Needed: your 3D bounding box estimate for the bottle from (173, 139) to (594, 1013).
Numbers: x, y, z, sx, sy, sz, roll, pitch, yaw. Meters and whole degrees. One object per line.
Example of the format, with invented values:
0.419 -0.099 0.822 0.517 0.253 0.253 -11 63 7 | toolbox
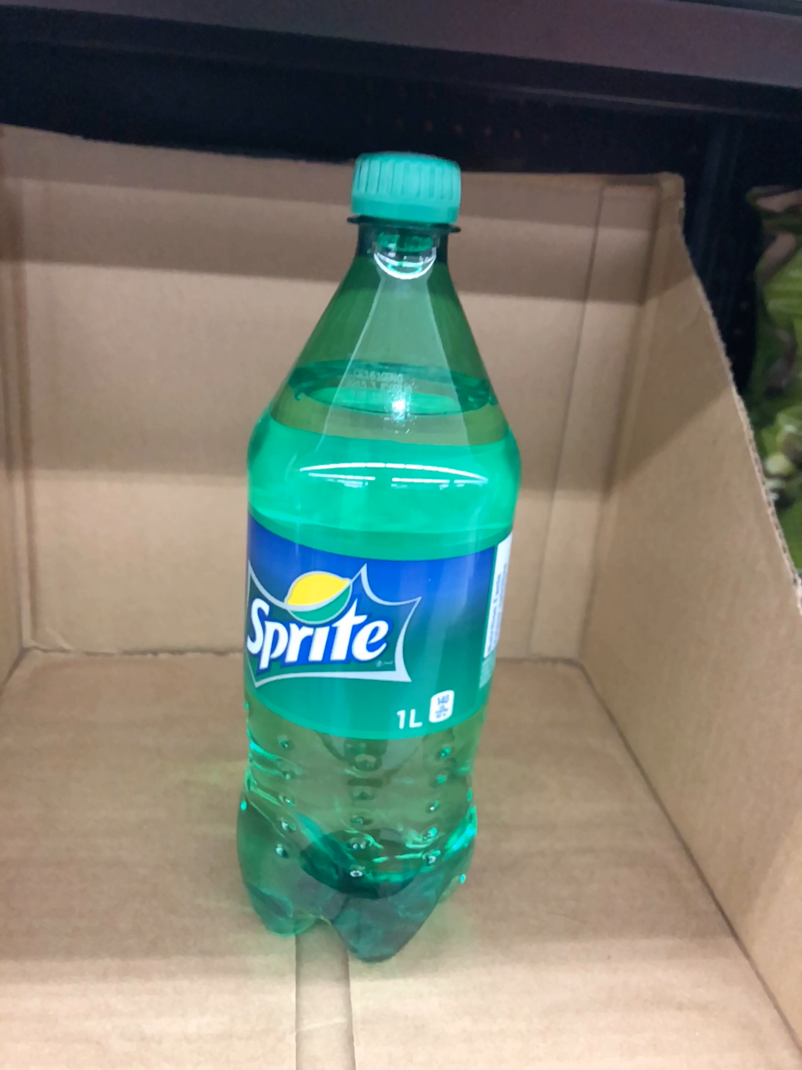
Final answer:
-0.008 0.013 0.289 0.090 0.248 0.091 4 23 -2 | bottle
